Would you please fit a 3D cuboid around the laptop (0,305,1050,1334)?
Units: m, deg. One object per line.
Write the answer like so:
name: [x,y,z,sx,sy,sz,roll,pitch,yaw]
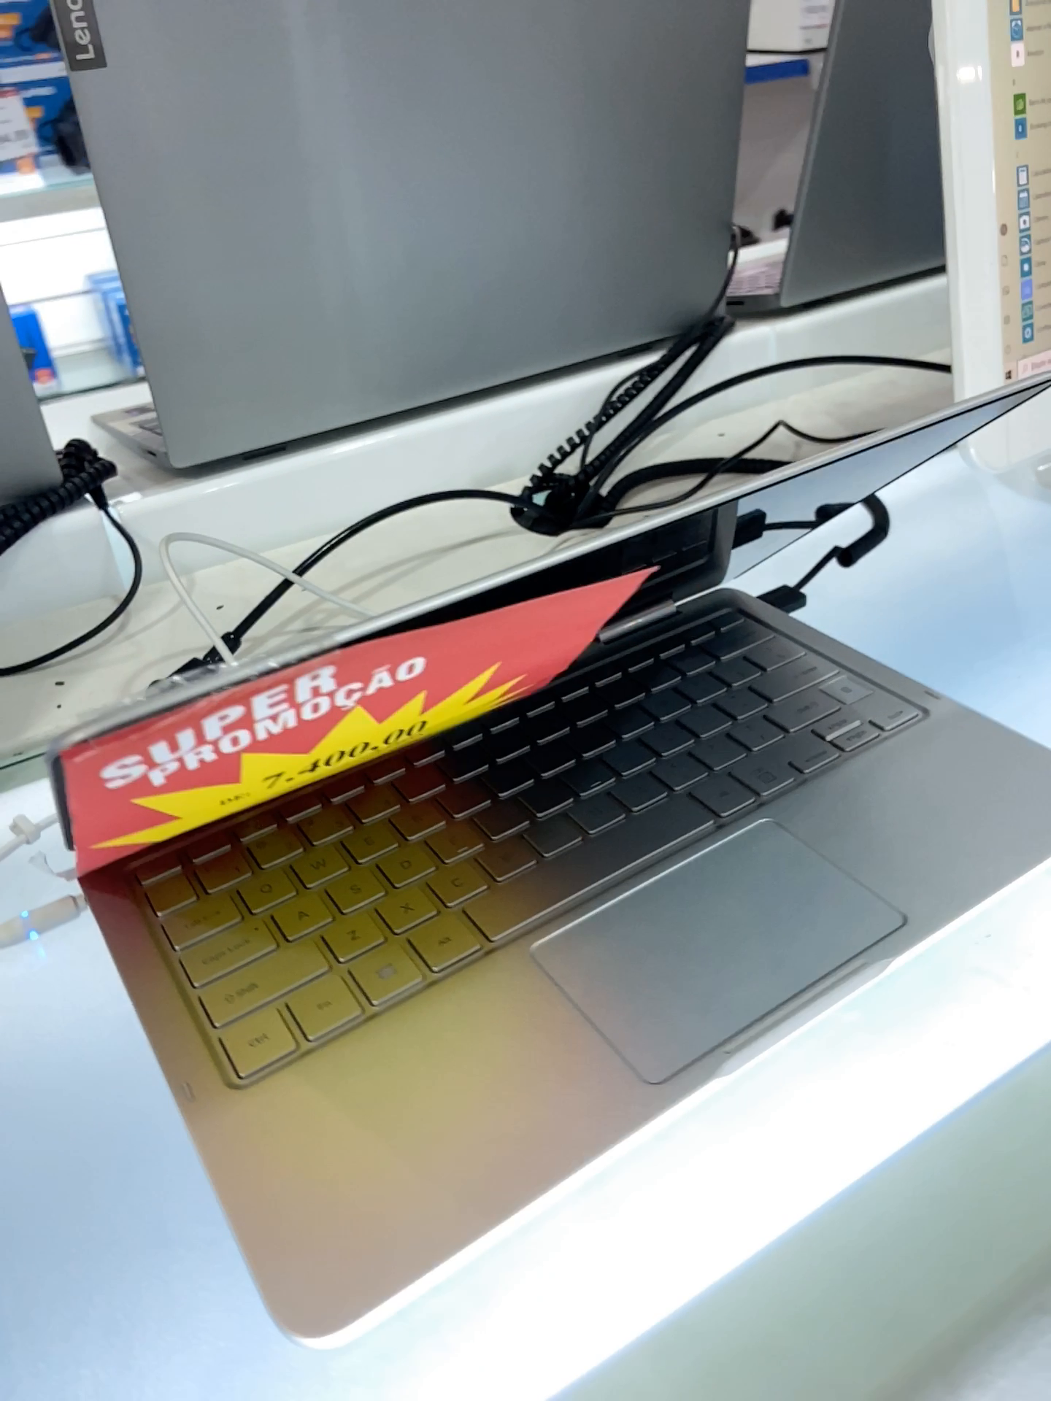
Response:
laptop: [0.017,-0.011,0.343,0.307,0.132,0.201,-23,37,-25]
